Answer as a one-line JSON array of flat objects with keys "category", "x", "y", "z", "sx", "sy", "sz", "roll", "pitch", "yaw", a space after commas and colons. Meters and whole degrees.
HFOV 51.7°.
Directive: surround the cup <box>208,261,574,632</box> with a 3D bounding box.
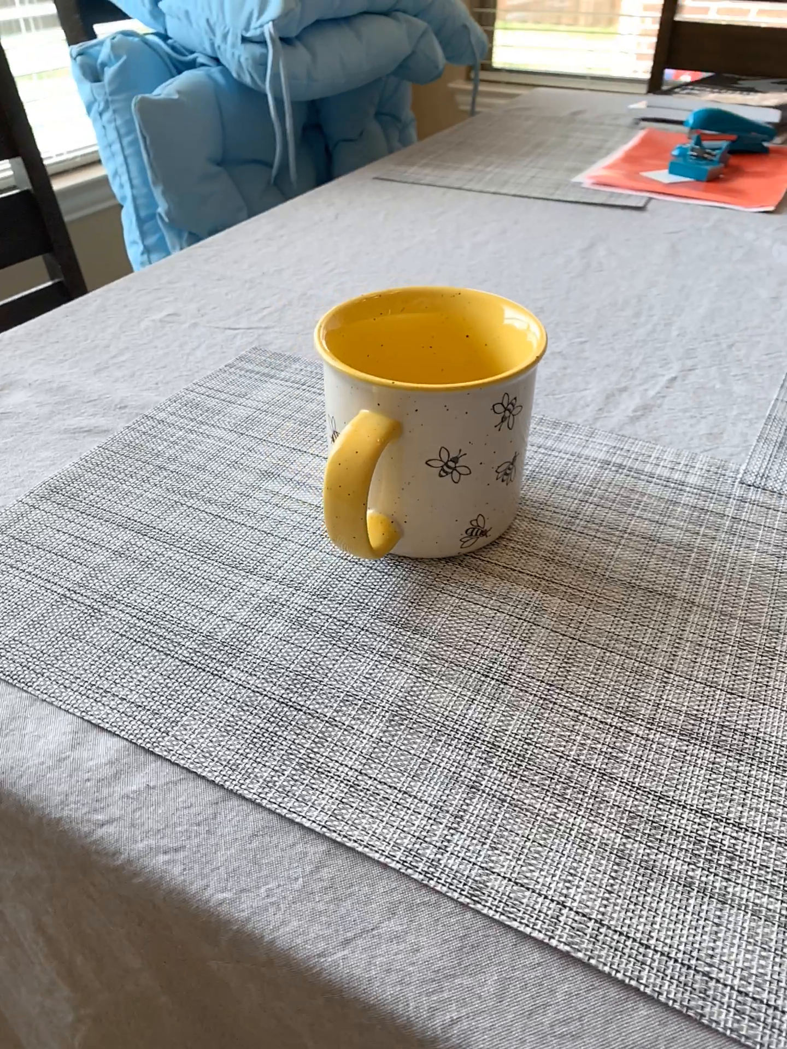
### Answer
[{"category": "cup", "x": 0.004, "y": -0.047, "z": 0.402, "sx": 0.113, "sy": 0.107, "sz": 0.137, "roll": 20, "pitch": 41, "yaw": 24}]
